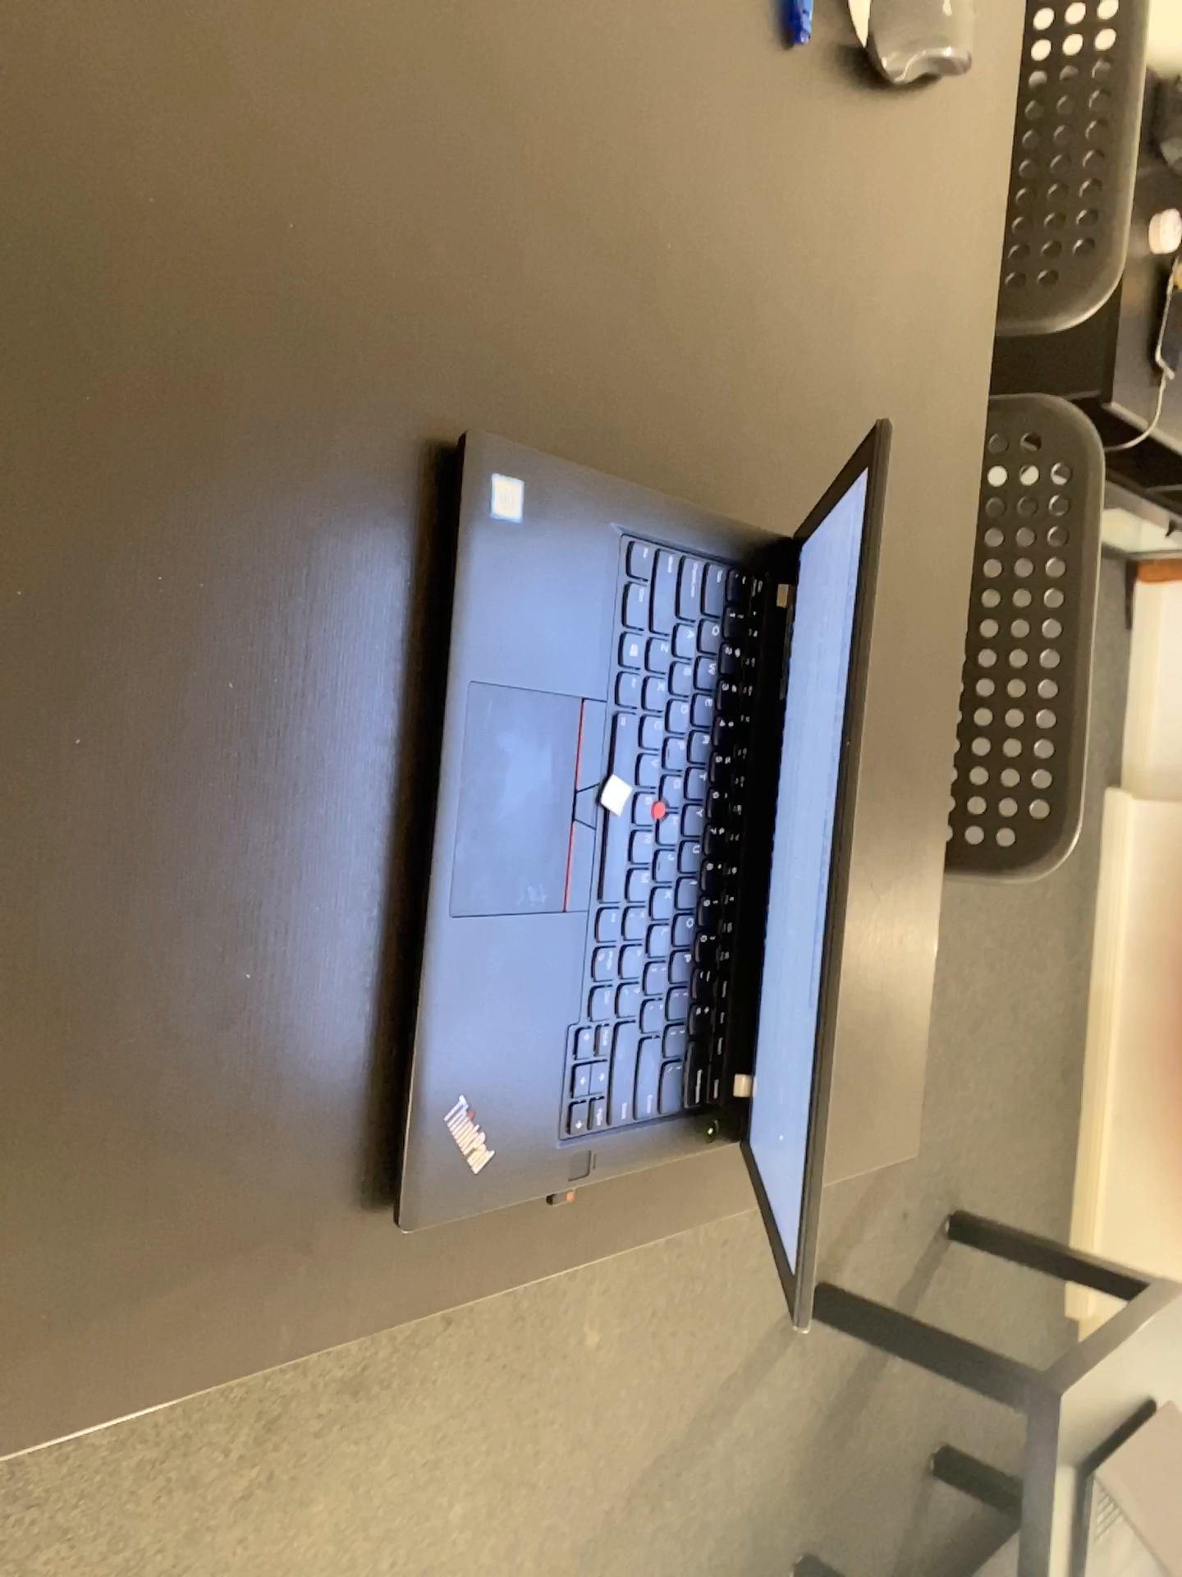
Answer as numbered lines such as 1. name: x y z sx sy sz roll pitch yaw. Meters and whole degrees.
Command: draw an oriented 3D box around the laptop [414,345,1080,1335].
1. laptop: 0.070 0.016 0.489 0.217 0.138 0.299 2 93 -45
